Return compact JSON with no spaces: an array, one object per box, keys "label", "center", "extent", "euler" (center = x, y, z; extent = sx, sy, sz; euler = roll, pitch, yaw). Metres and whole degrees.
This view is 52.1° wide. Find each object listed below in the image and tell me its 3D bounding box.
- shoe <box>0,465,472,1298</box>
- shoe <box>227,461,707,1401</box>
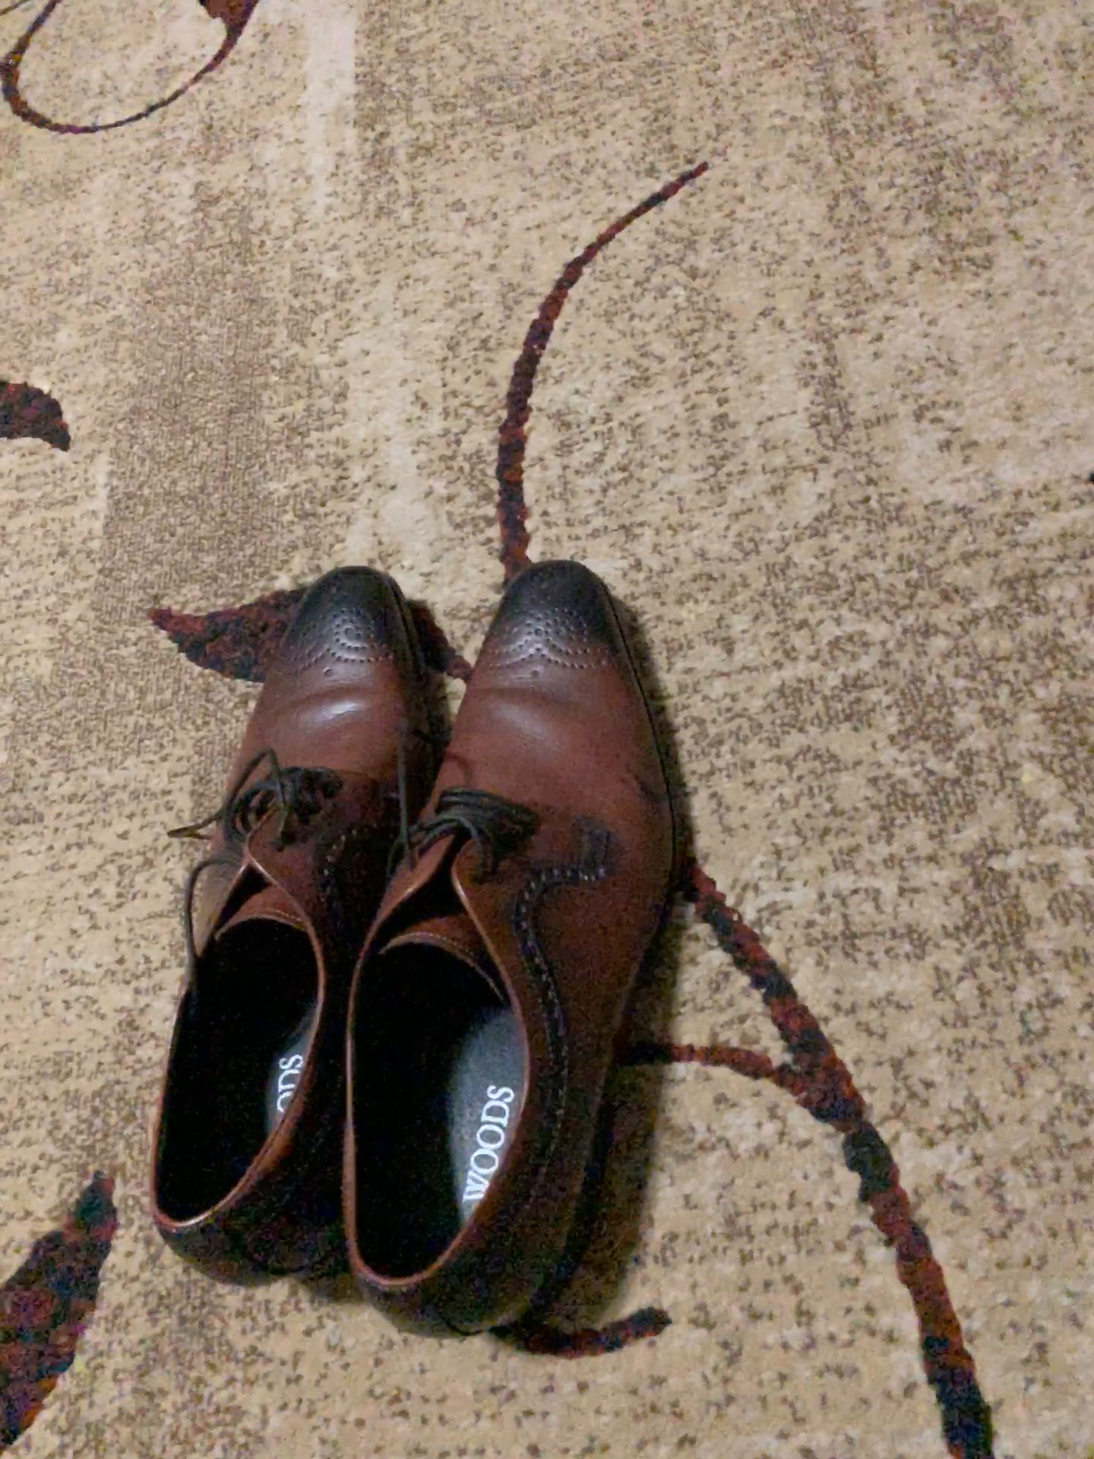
[{"label":"shoe","center":[-0.103,0.055,0.431],"extent":[0.100,0.115,0.287],"euler":[-6,63,15]},{"label":"shoe","center":[-0.008,0.060,0.398],"extent":[0.100,0.115,0.287],"euler":[-1,64,17]}]
